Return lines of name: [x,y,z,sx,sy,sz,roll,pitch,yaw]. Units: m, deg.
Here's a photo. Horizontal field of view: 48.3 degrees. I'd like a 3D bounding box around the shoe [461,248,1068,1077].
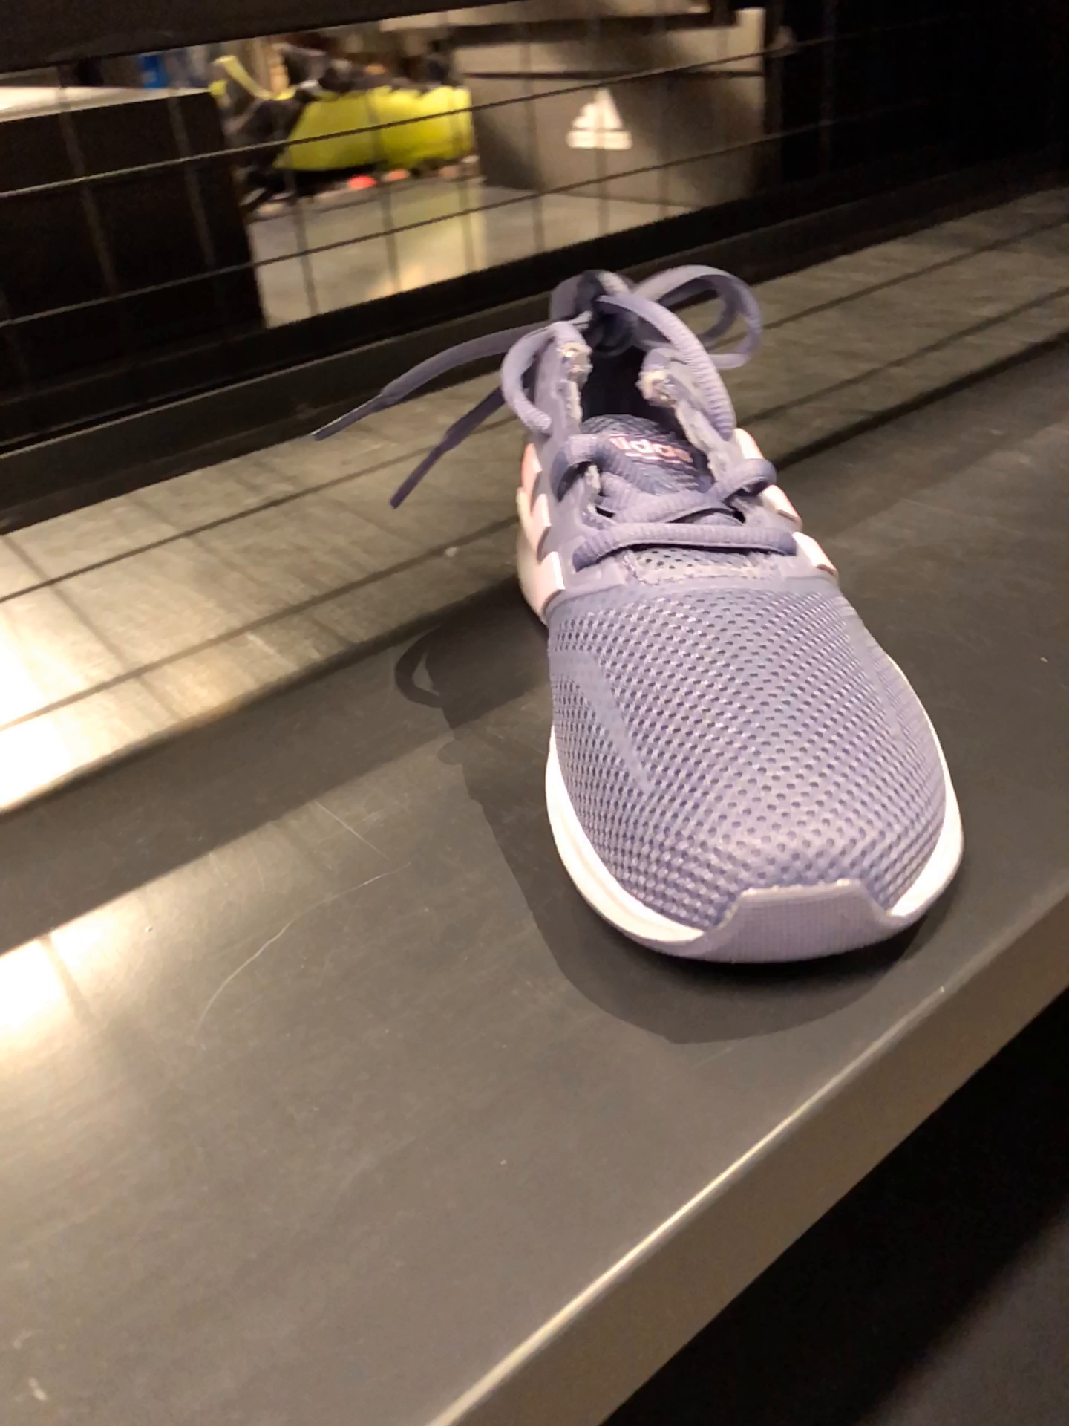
shoe: [0.040,-0.037,0.284,0.090,0.090,0.221,-8,32,-3]
